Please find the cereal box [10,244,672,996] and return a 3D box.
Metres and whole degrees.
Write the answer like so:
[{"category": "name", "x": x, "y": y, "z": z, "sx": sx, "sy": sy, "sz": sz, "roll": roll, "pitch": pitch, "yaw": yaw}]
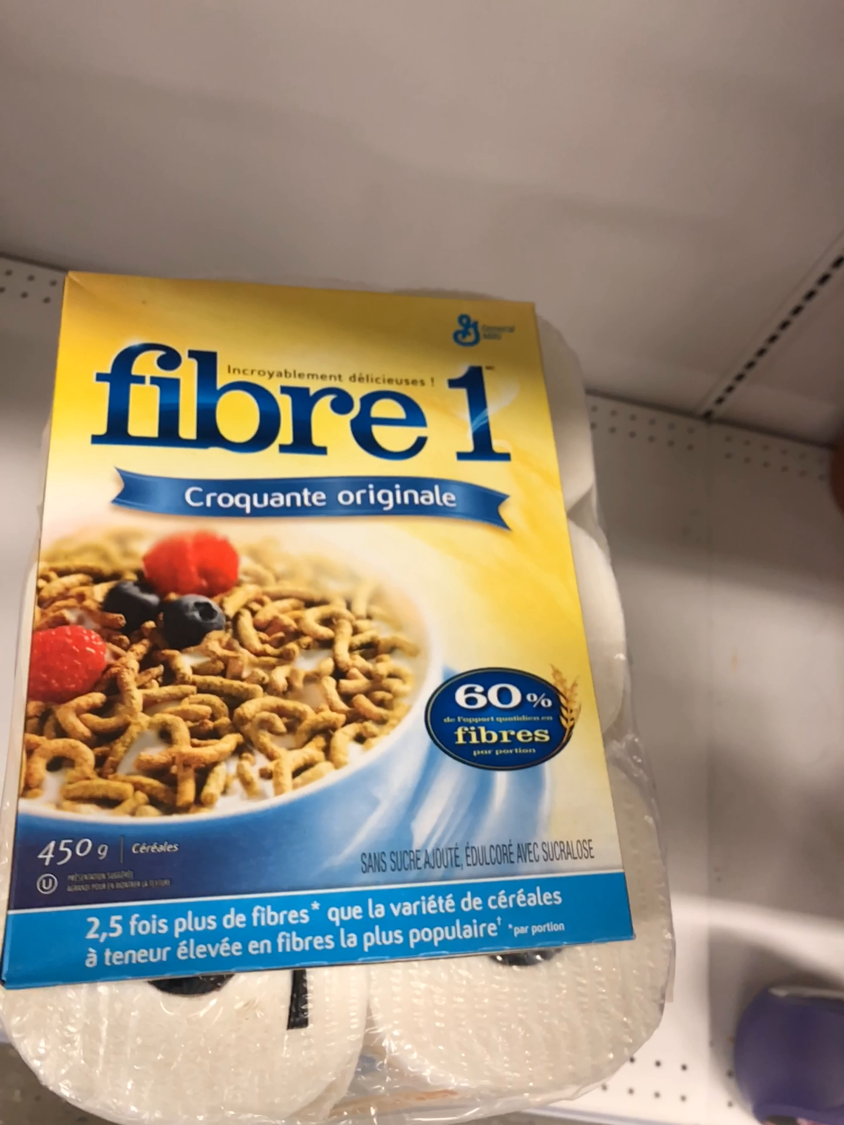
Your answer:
[{"category": "cereal box", "x": -0.031, "y": 0.012, "z": 0.359, "sx": 0.200, "sy": 0.060, "sz": 0.260, "roll": 1, "pitch": 68, "yaw": -11}]
